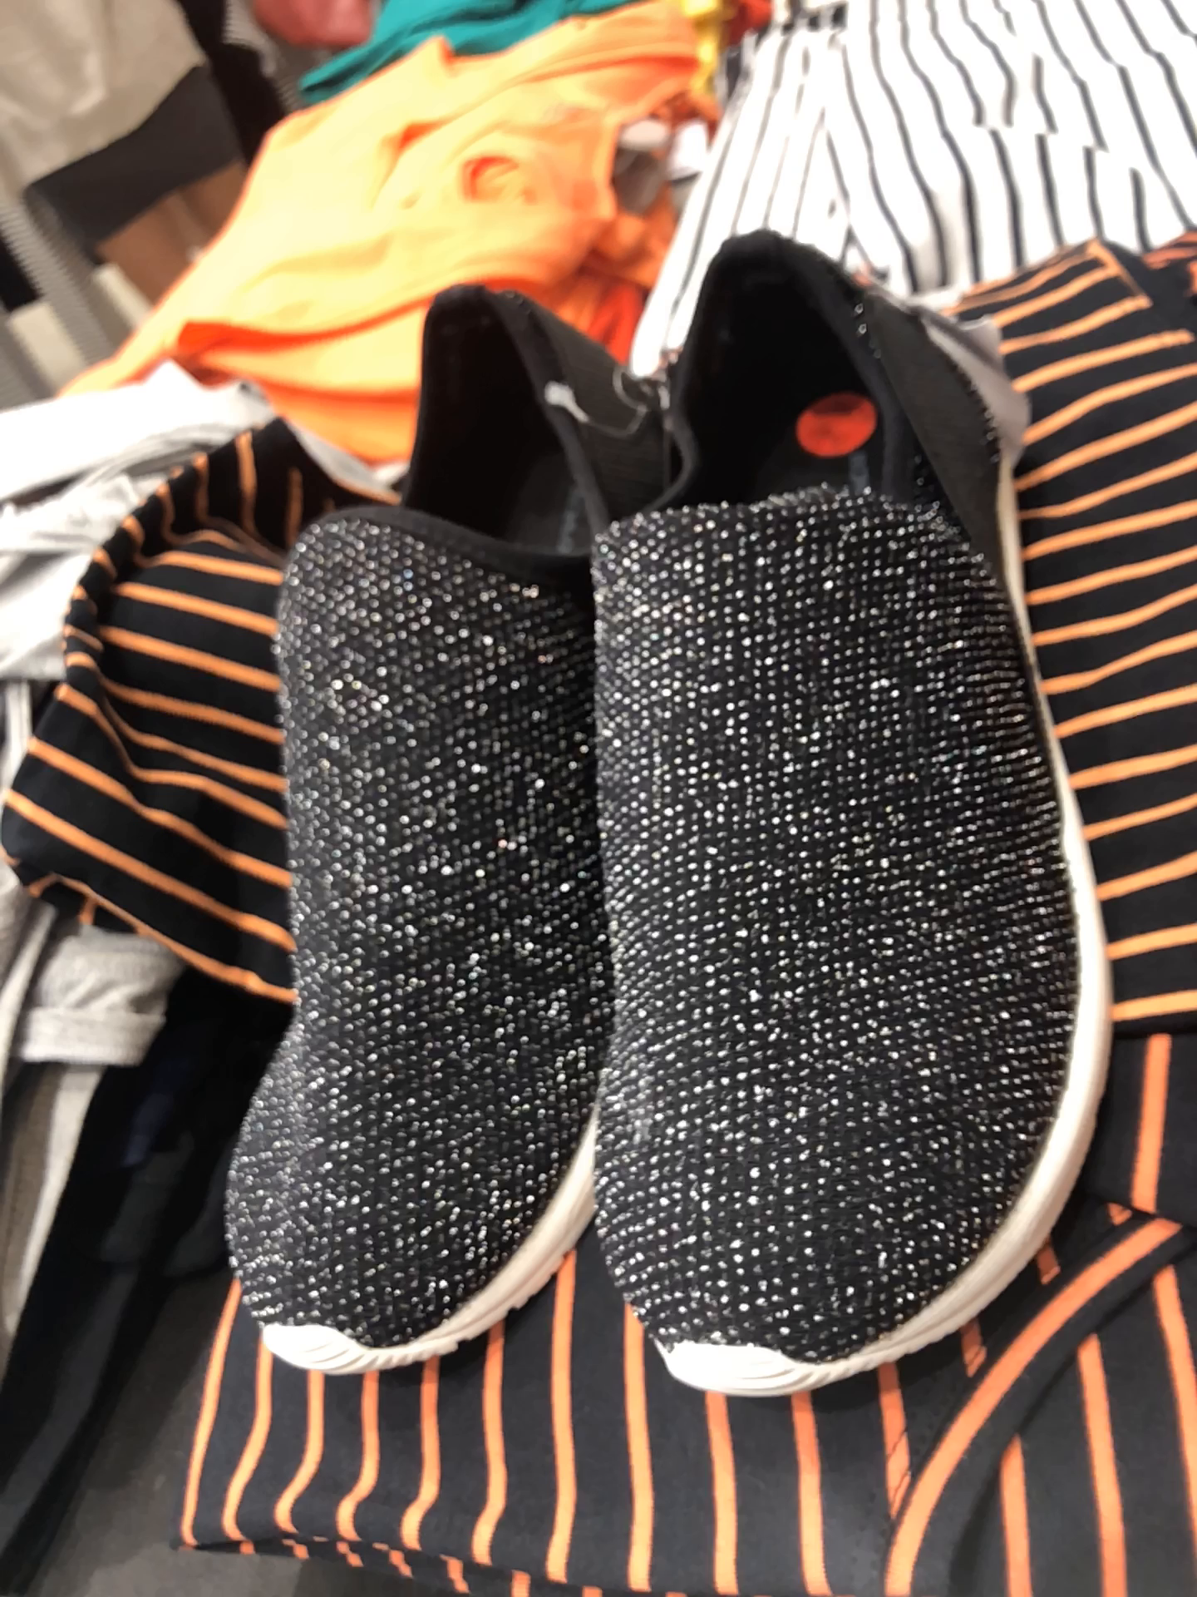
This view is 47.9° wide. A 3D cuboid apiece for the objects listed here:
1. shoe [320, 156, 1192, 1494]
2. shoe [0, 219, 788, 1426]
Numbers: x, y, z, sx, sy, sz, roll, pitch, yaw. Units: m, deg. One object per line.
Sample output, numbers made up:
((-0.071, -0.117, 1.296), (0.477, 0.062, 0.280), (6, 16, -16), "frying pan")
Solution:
((0.050, -0.012, 0.272), (0.100, 0.109, 0.241), (-6, 45, 21), "shoe")
((-0.035, -0.010, 0.302), (0.100, 0.109, 0.241), (-4, 46, 23), "shoe")
